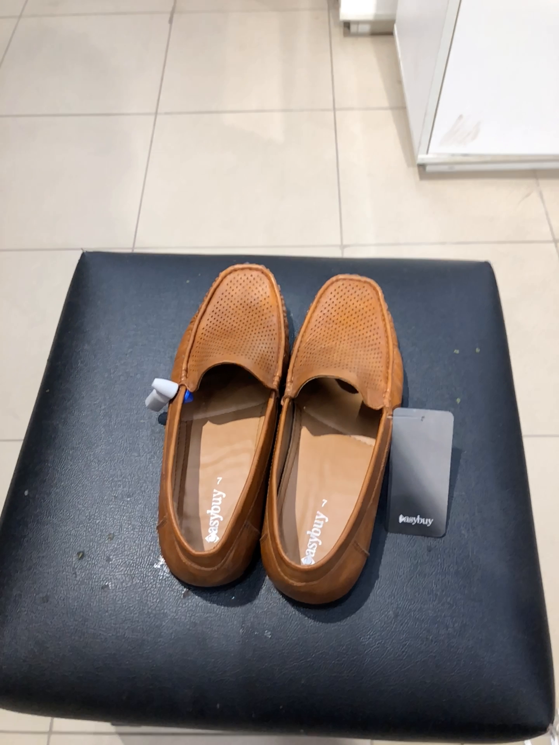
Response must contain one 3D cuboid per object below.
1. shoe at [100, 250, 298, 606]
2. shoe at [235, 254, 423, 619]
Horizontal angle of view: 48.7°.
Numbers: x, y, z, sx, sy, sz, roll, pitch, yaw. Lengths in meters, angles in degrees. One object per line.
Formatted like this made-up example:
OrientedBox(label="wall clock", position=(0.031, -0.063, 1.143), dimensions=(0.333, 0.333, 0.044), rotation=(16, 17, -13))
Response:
OrientedBox(label="shoe", position=(-0.046, 0.036, 0.482), dimensions=(0.097, 0.096, 0.253), rotation=(5, 60, 5))
OrientedBox(label="shoe", position=(0.045, 0.041, 0.478), dimensions=(0.097, 0.096, 0.253), rotation=(8, 60, 7))
